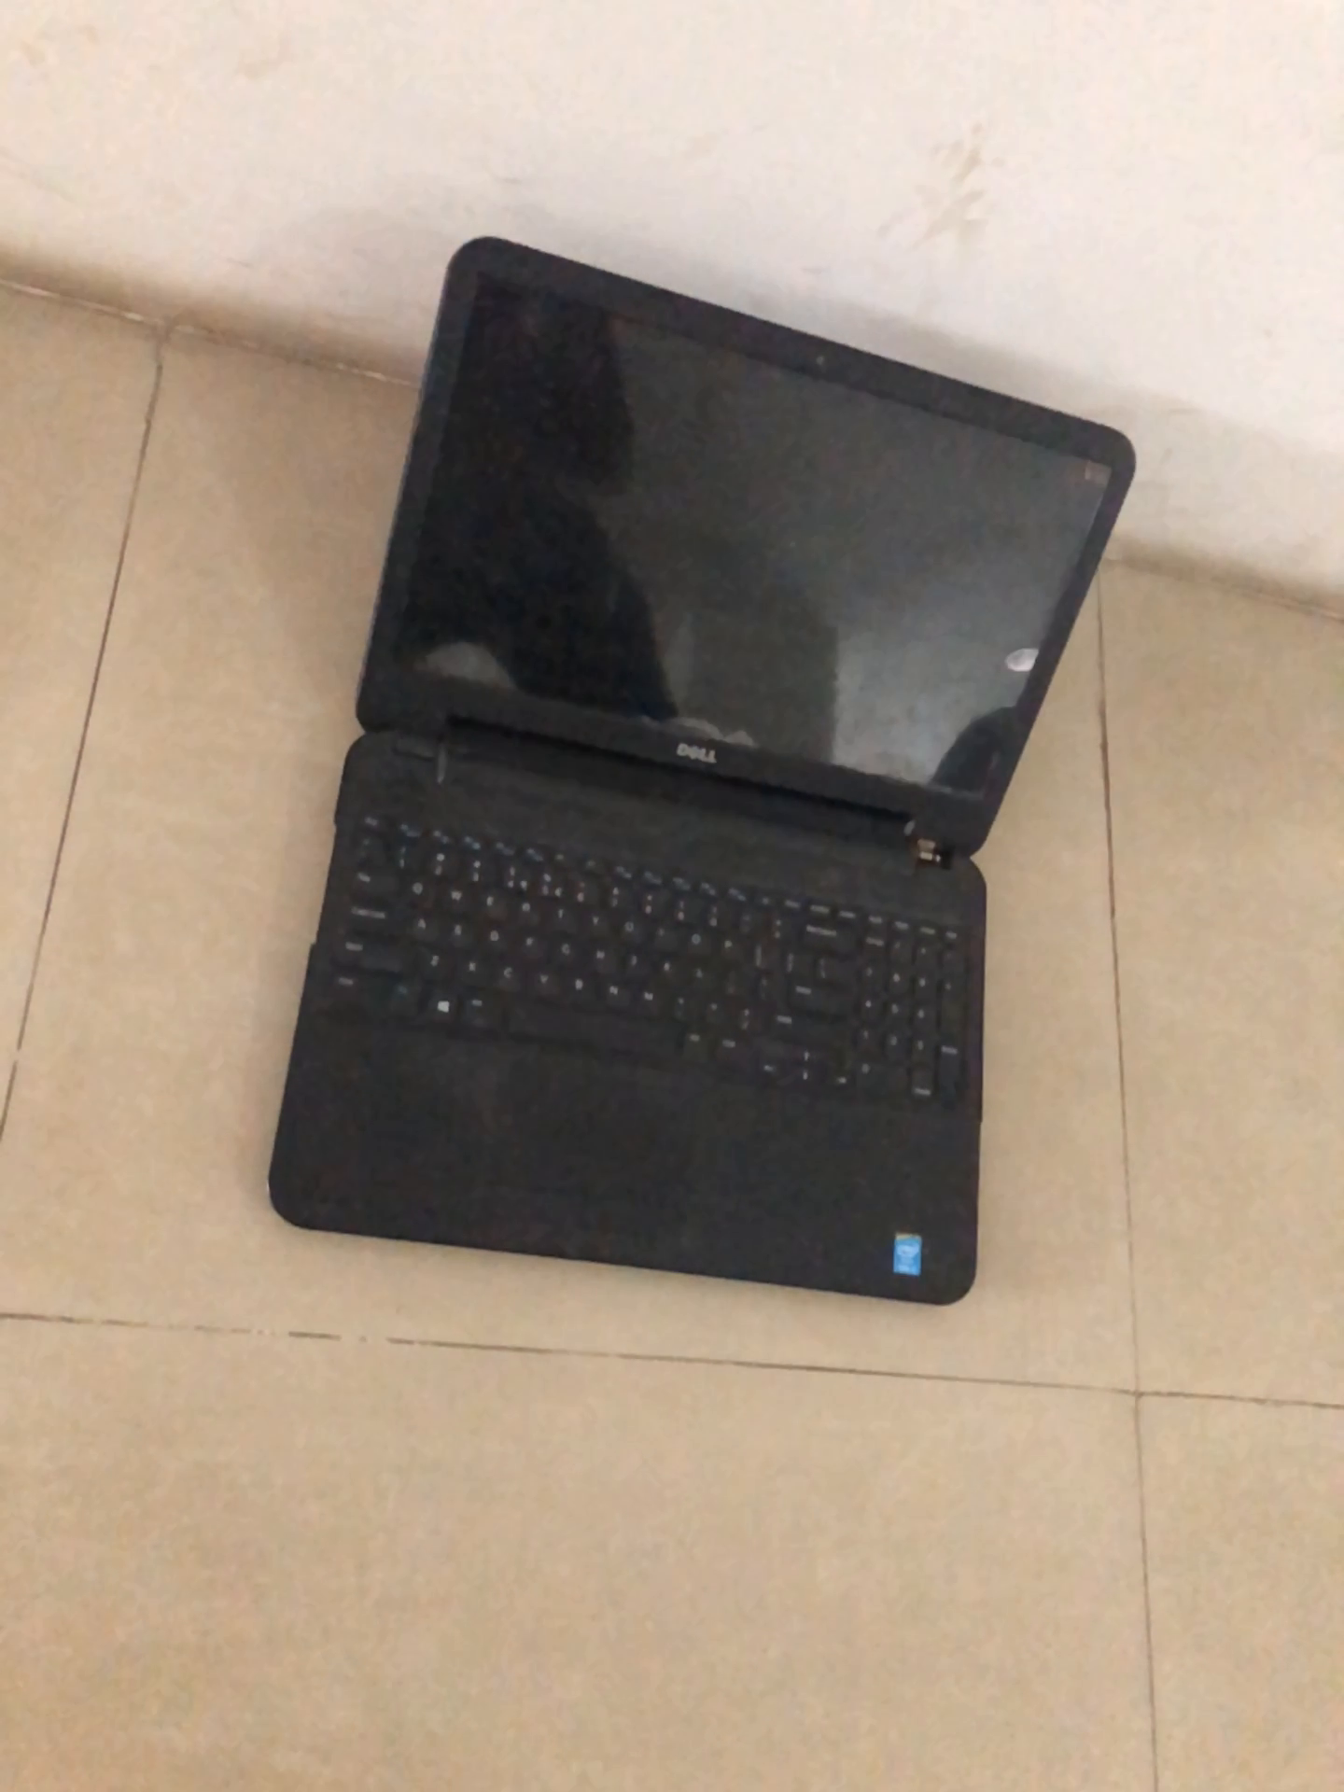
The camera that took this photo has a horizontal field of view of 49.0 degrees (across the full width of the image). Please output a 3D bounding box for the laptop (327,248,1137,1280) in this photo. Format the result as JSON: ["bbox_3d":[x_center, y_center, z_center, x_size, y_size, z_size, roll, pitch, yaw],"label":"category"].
[{"bbox_3d":[0.032,-0.045,0.717,0.322,0.166,0.409,11,69,-18],"label":"laptop"}]
